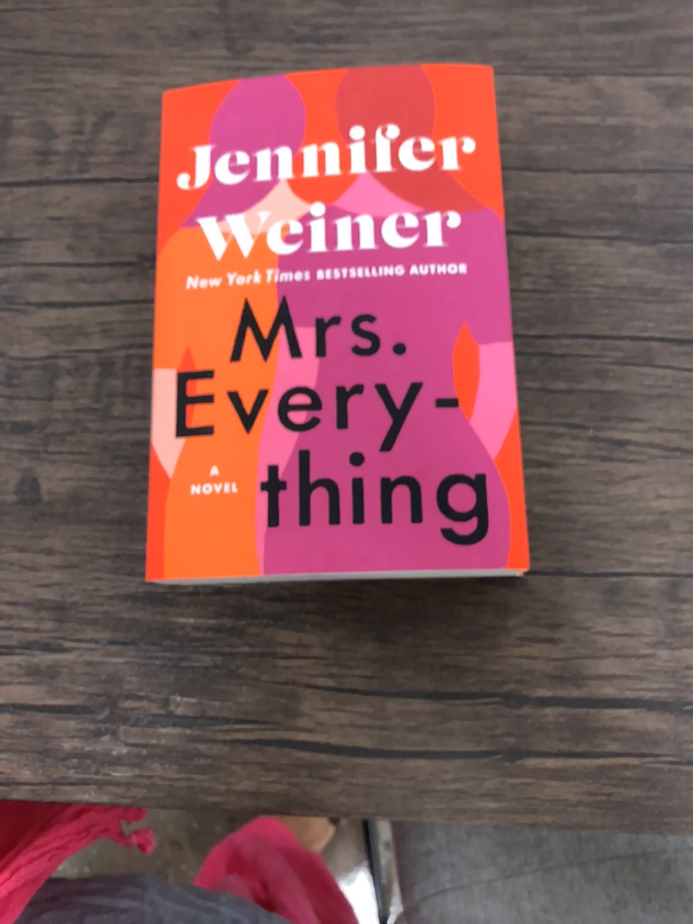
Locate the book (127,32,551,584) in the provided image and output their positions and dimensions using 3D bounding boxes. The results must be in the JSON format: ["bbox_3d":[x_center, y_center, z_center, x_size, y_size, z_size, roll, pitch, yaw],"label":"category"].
[{"bbox_3d":[-0.005,-0.067,0.342,0.161,0.047,0.232,-2,78,2],"label":"book"}]
